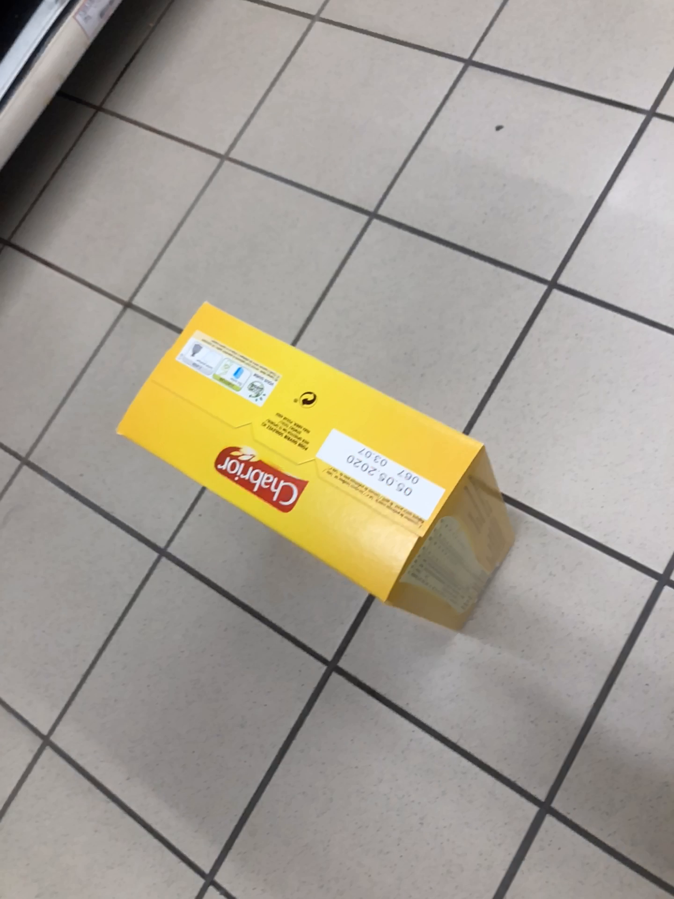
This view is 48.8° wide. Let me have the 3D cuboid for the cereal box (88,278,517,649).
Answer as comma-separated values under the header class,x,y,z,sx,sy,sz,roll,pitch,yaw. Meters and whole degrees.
class,x,y,z,sx,sy,sz,roll,pitch,yaw
cereal box,0.007,0.035,0.551,0.210,0.310,0.110,30,83,22
